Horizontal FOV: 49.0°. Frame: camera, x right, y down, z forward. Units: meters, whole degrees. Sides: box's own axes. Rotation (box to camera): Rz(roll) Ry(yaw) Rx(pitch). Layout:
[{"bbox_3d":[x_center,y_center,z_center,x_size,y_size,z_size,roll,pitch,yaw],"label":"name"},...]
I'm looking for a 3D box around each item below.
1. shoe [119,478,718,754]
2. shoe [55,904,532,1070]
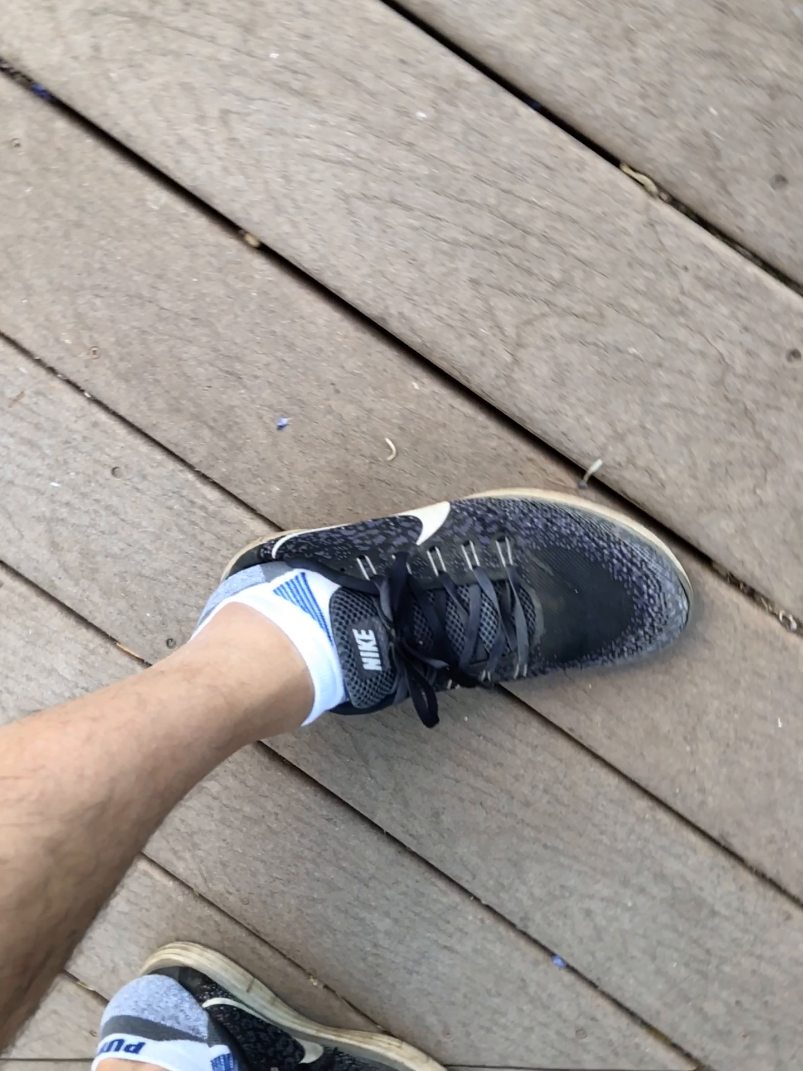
[{"bbox_3d":[0.012,0.047,0.510,0.310,0.090,0.120,-4,105,10],"label":"shoe"},{"bbox_3d":[-0.075,0.420,0.656,0.320,0.090,0.120,27,109,0],"label":"shoe"}]
